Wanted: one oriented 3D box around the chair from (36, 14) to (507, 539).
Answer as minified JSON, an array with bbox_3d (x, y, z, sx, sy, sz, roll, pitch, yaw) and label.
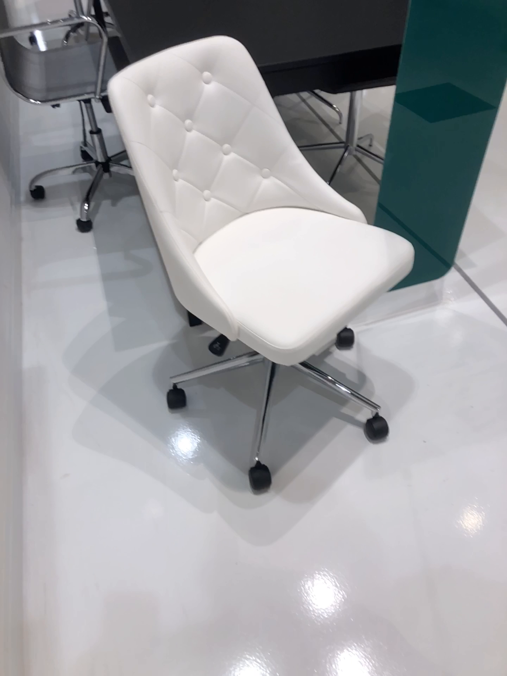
[{"bbox_3d":[0.055,-0.149,1.296,0.602,0.854,0.642,-36,54,-29],"label":"chair"}]
